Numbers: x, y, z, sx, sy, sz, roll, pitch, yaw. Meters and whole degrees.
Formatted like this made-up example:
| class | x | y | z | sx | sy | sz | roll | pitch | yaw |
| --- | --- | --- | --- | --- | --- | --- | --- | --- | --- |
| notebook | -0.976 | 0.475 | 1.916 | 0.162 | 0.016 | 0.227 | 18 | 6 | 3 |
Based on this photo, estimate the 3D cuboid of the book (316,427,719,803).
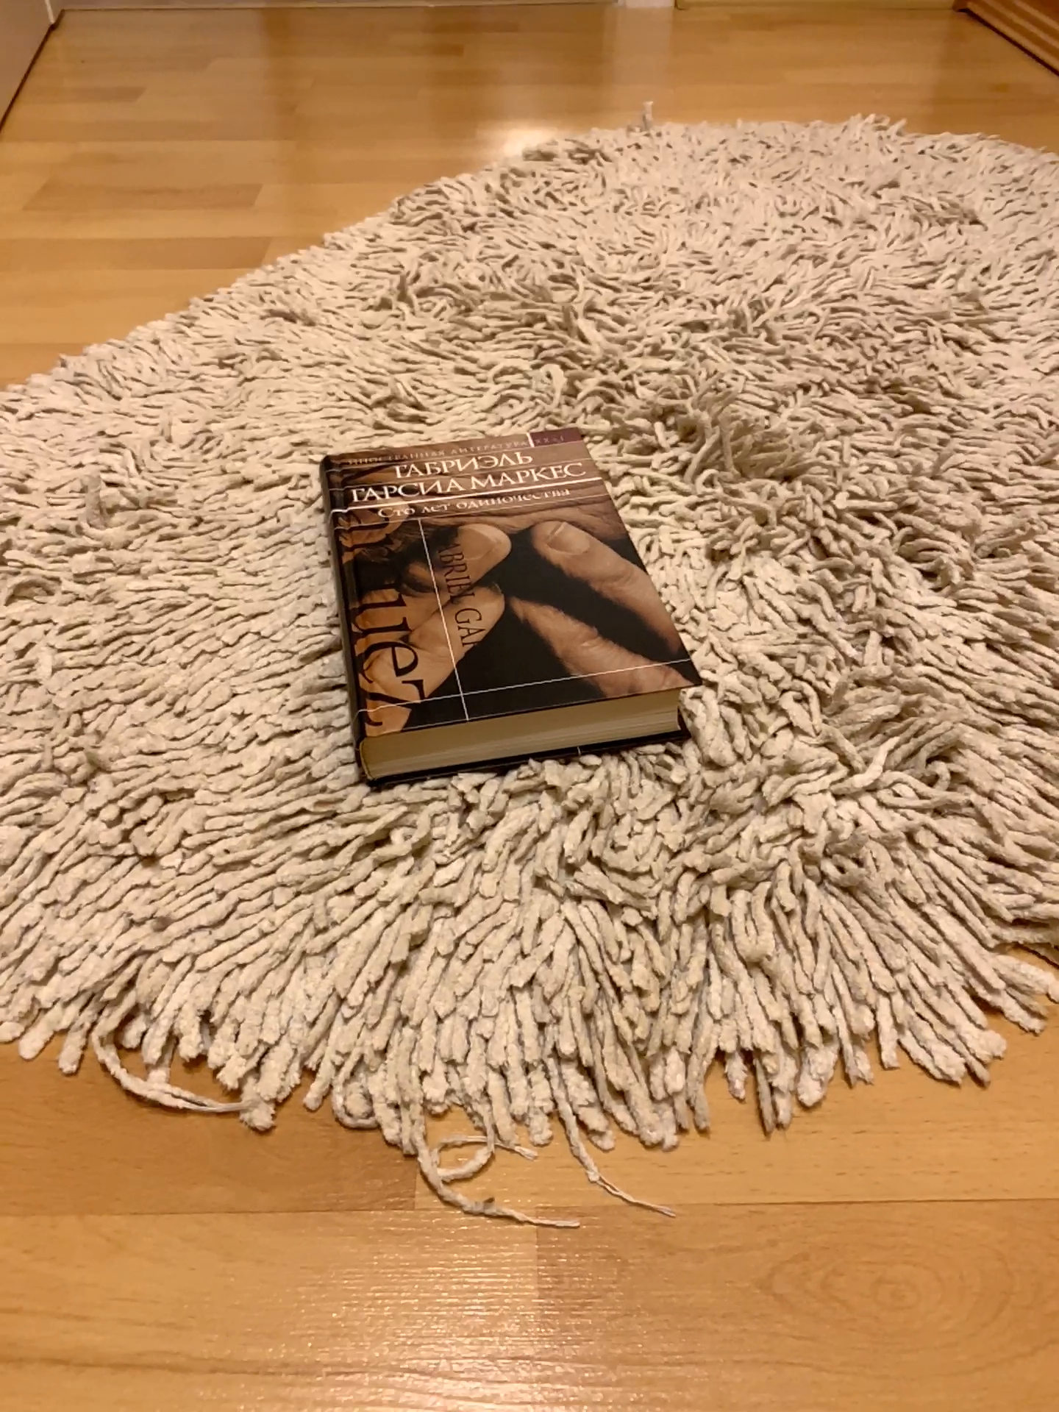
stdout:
| class | x | y | z | sx | sy | sz | roll | pitch | yaw |
| --- | --- | --- | --- | --- | --- | --- | --- | --- | --- |
| book | -0.017 | -0.054 | 0.490 | 0.140 | 0.030 | 0.212 | -8 | 43 | -8 |
